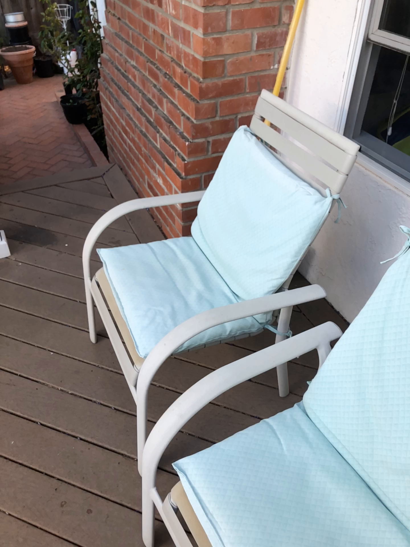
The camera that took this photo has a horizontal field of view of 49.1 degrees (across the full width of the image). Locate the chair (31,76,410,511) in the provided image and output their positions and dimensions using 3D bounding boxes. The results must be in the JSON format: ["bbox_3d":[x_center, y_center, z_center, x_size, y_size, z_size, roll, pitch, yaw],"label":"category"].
[{"bbox_3d":[0.092,0.021,1.520,0.971,0.994,0.744,-17,43,-19],"label":"chair"}]
